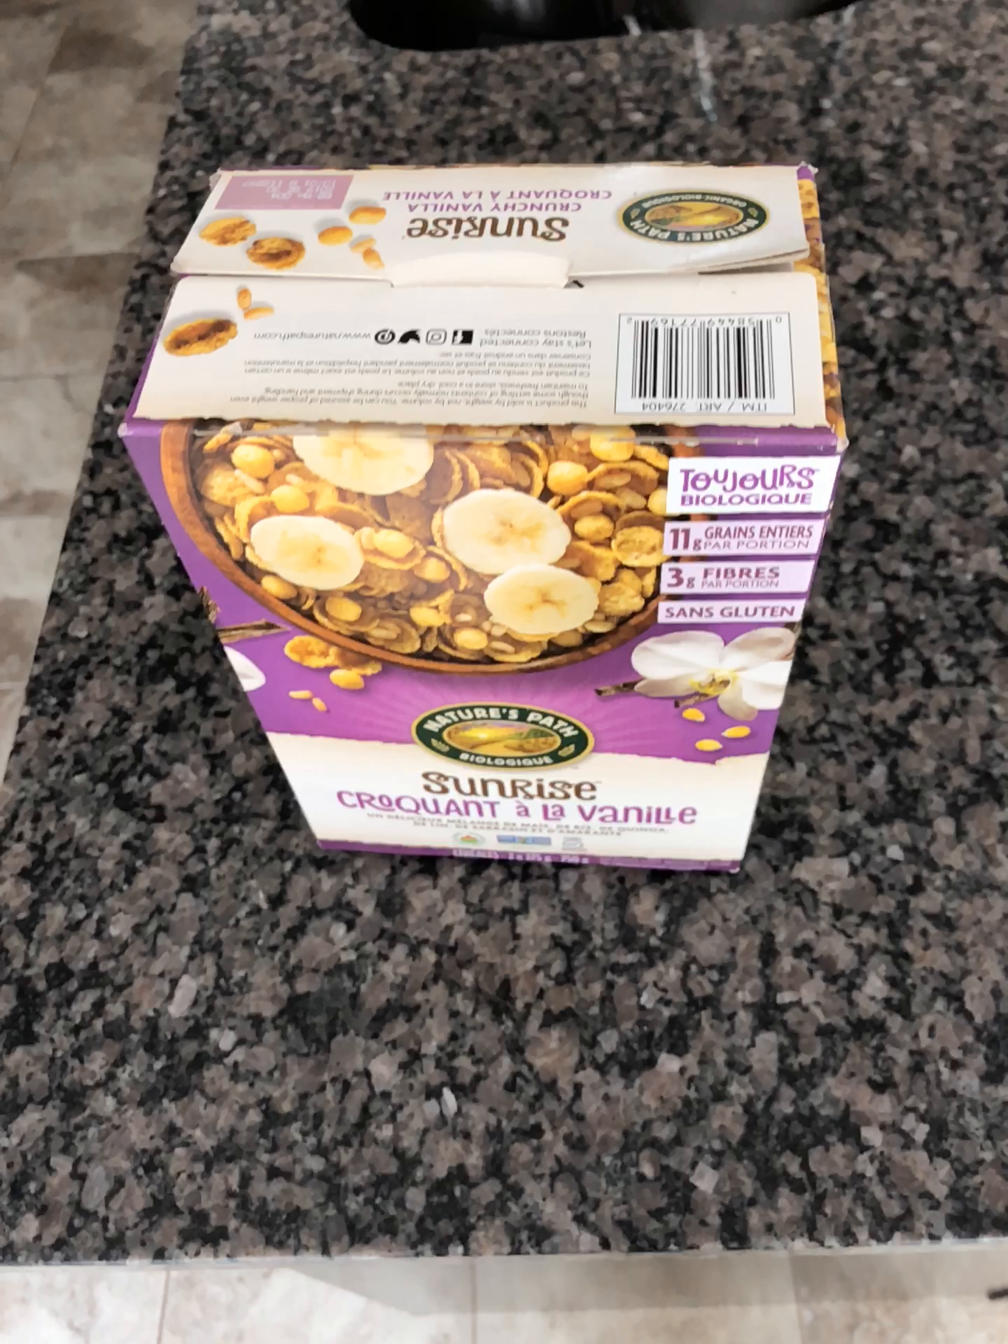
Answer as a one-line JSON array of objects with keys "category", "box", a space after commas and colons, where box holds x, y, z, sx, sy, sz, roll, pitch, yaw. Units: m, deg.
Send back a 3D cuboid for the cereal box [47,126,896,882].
[{"category": "cereal box", "box": [0.003, -0.033, 0.362, 0.180, 0.230, 0.110, 2, 58, 7]}]
